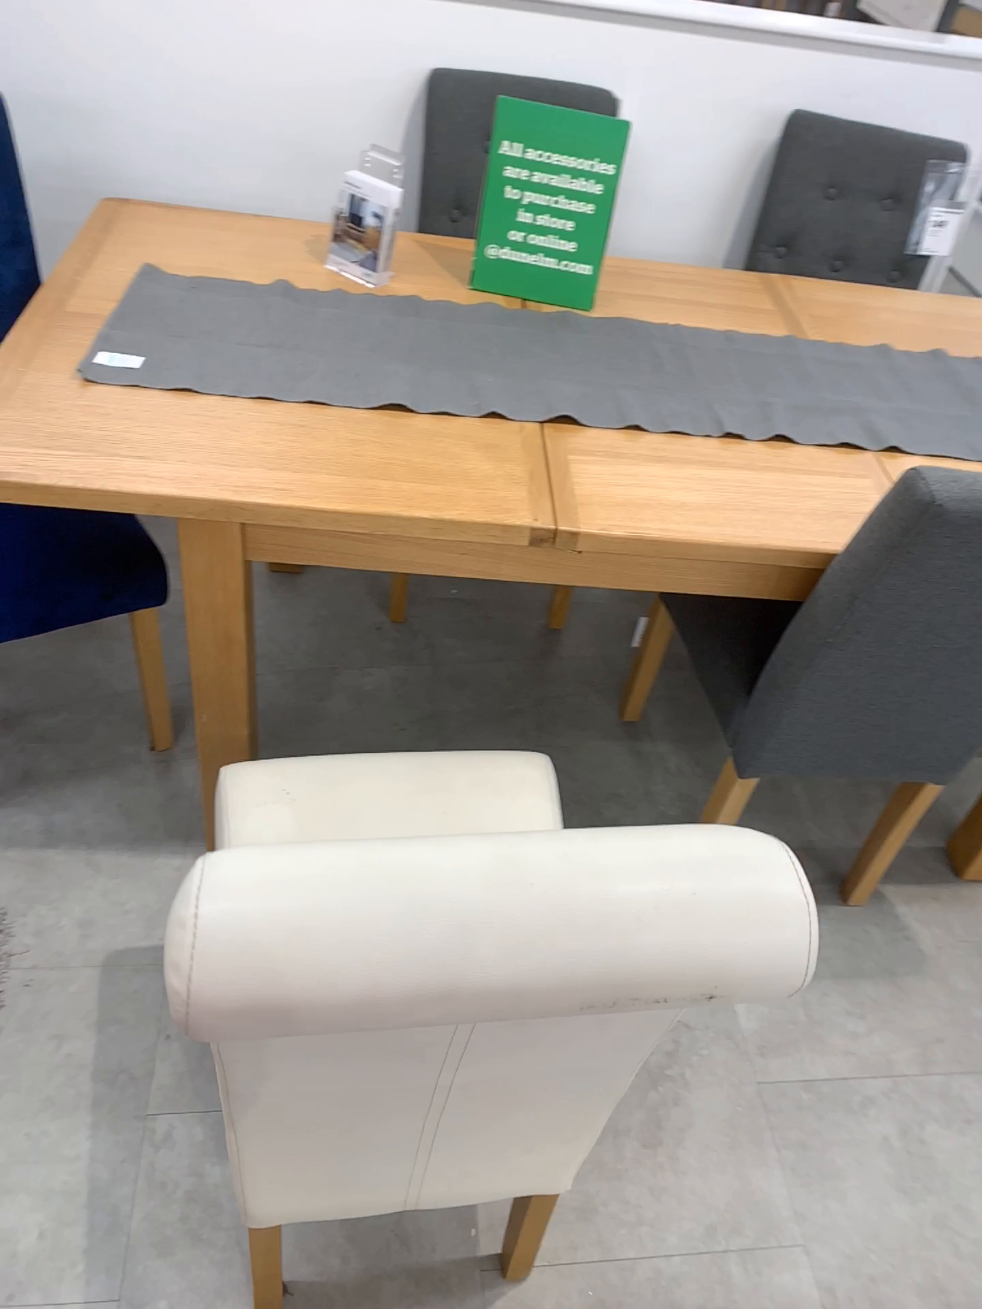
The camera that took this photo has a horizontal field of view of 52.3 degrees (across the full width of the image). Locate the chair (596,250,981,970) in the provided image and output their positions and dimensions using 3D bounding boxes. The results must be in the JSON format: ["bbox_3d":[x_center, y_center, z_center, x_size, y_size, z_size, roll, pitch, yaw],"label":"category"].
[{"bbox_3d":[0.531,-0.025,1.522,0.483,0.906,0.587,2,43,-8],"label":"chair"}]

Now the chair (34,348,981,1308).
[{"bbox_3d":[-0.052,0.276,1.021,0.513,0.935,0.597,0,43,-11],"label":"chair"}]
